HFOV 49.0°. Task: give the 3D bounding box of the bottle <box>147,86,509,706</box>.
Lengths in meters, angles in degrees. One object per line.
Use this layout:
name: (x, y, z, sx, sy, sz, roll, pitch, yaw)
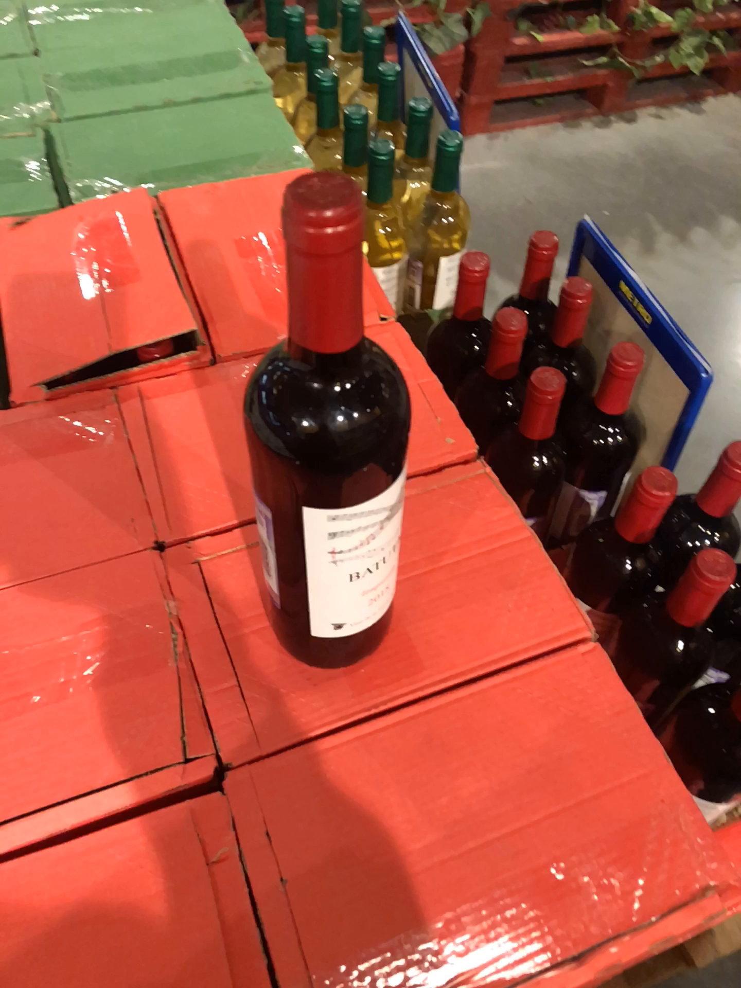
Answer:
bottle: (-0.019, -0.017, 0.380, 0.080, 0.287, 0.090, 32, 57, 20)
